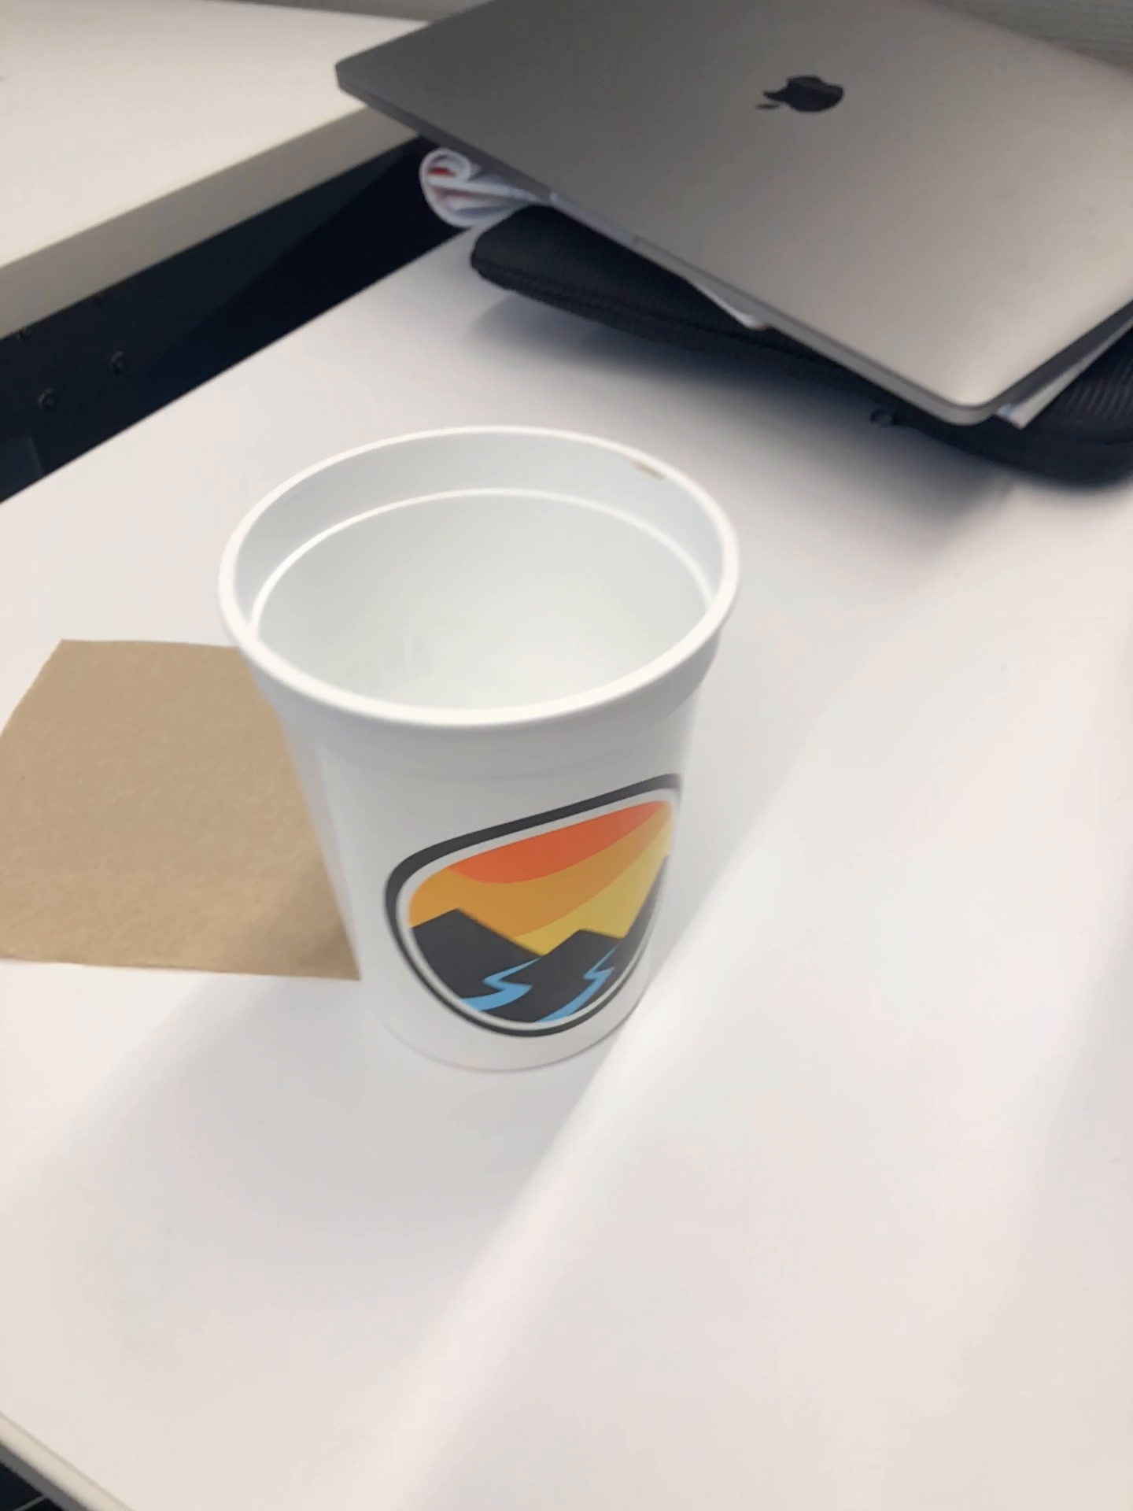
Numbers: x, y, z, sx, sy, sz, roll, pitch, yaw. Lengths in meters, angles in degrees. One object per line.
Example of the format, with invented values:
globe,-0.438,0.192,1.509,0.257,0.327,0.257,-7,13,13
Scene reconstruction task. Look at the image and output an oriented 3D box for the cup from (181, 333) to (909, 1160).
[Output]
cup,-0.008,-0.005,0.234,0.090,0.100,0.090,-1,41,1
